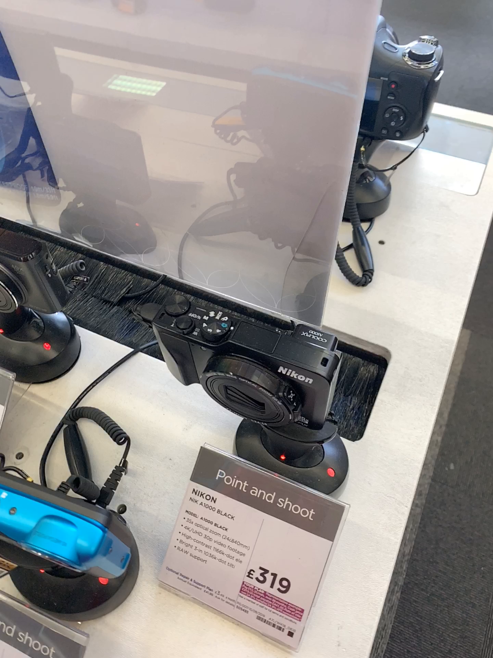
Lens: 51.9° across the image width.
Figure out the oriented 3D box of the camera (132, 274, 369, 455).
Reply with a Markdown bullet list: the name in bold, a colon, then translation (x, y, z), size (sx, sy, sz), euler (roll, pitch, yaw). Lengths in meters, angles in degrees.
- **camera**: translation (0.001, 0.022, 0.294), size (0.120, 0.079, 0.030), euler (20, 58, 14)
